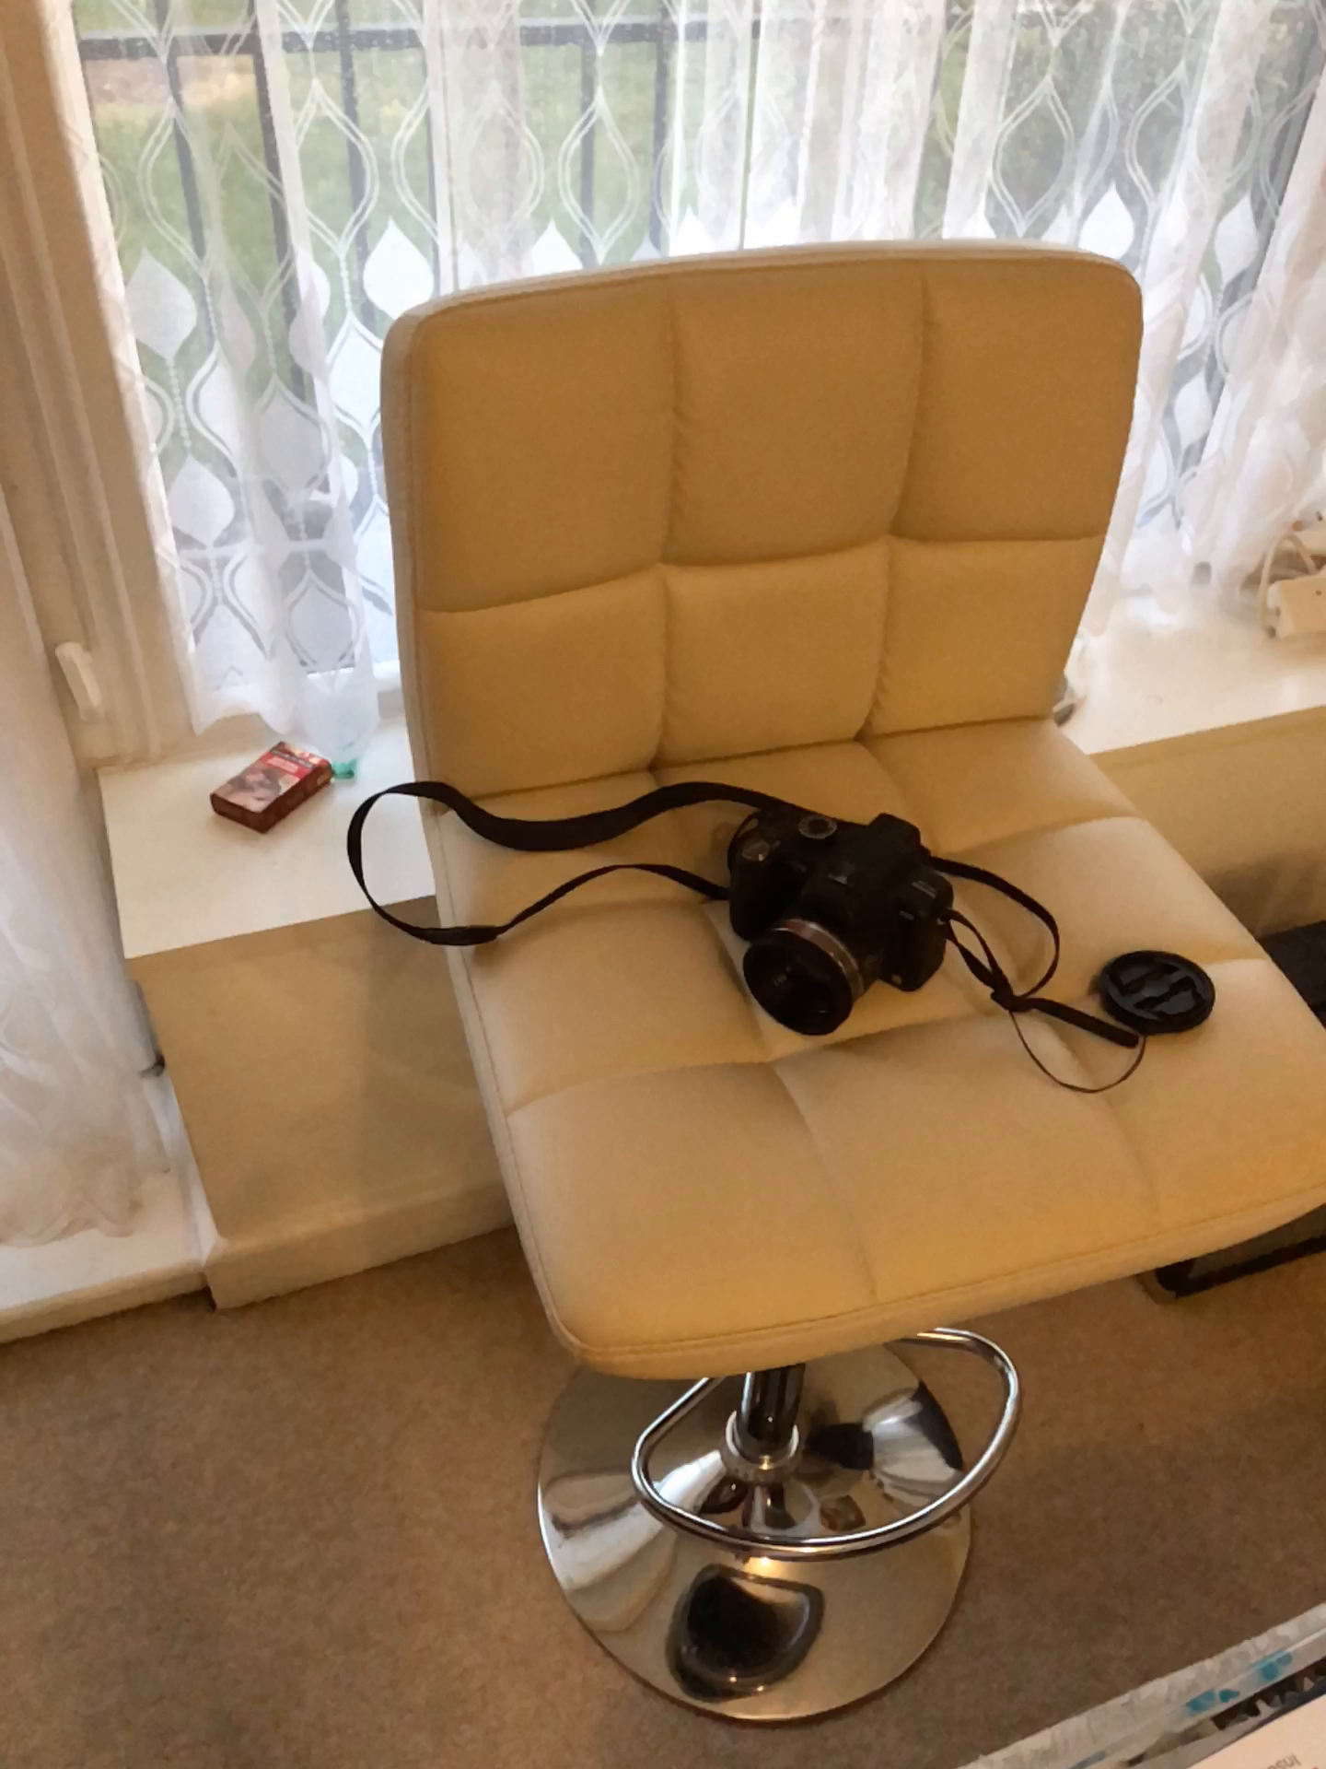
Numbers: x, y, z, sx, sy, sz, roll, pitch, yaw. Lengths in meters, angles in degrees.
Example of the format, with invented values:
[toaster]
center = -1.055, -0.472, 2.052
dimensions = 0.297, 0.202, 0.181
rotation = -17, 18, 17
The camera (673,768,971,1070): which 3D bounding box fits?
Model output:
[camera]
center = 0.079, 0.015, 0.737
dimensions = 0.112, 0.076, 0.098
rotation = 23, 46, 22
